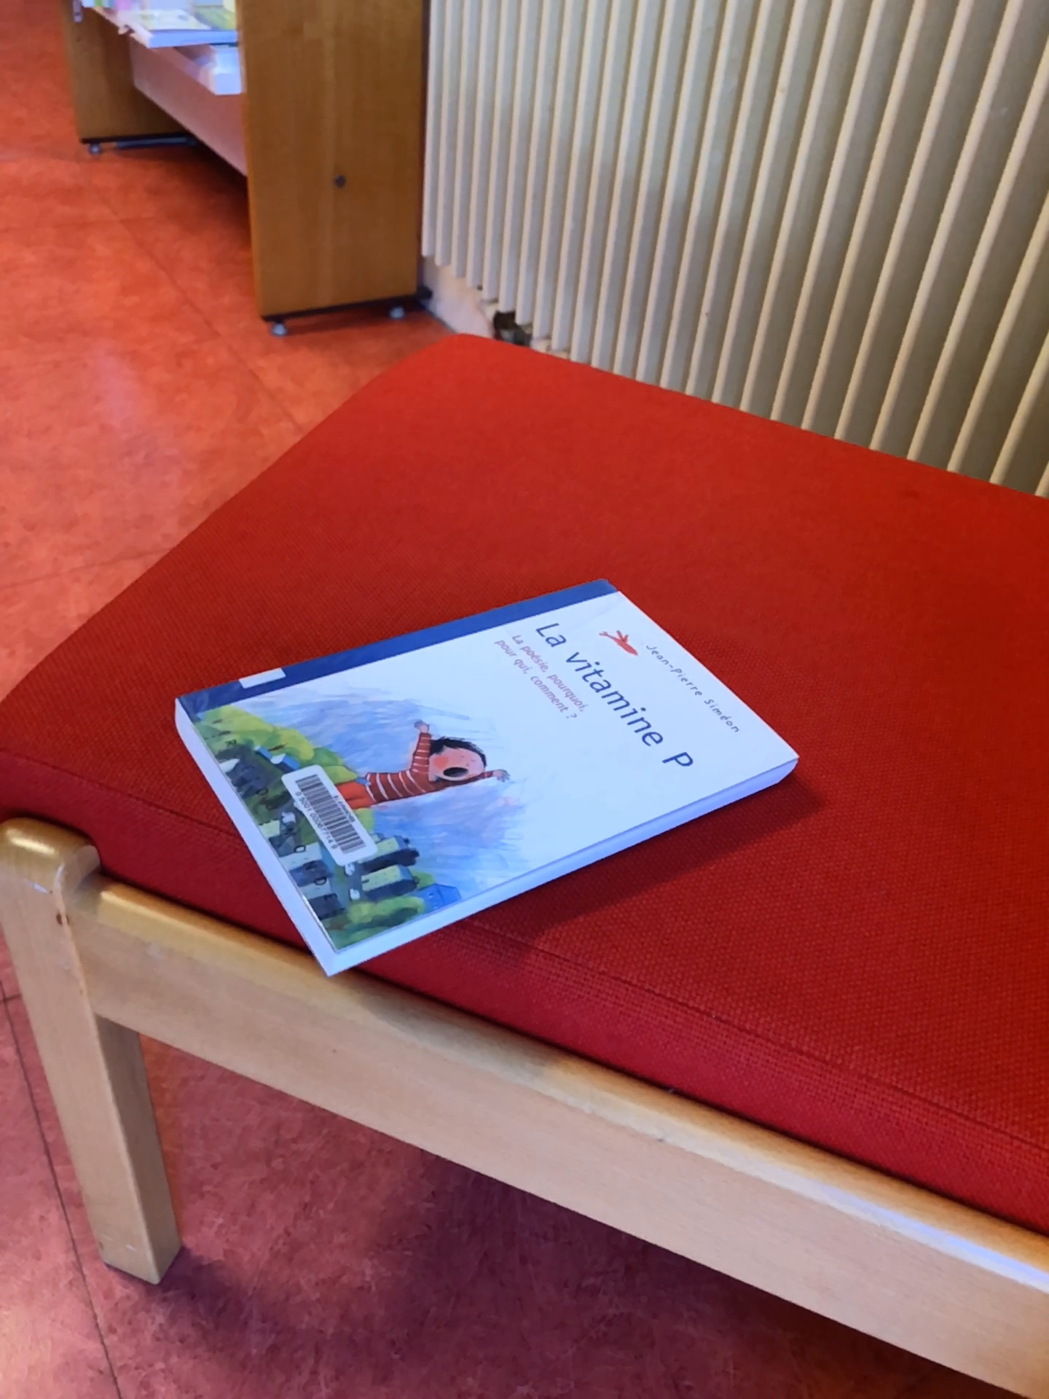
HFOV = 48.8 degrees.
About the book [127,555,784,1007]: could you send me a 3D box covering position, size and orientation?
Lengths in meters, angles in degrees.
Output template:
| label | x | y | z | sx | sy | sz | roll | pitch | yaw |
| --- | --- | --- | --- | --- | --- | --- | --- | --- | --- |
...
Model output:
| label | x | y | z | sx | sy | sz | roll | pitch | yaw |
| --- | --- | --- | --- | --- | --- | --- | --- | --- | --- |
| book | -0.028 | 0.016 | 0.465 | 0.216 | 0.027 | 0.147 | -19 | 47 | -27 |
